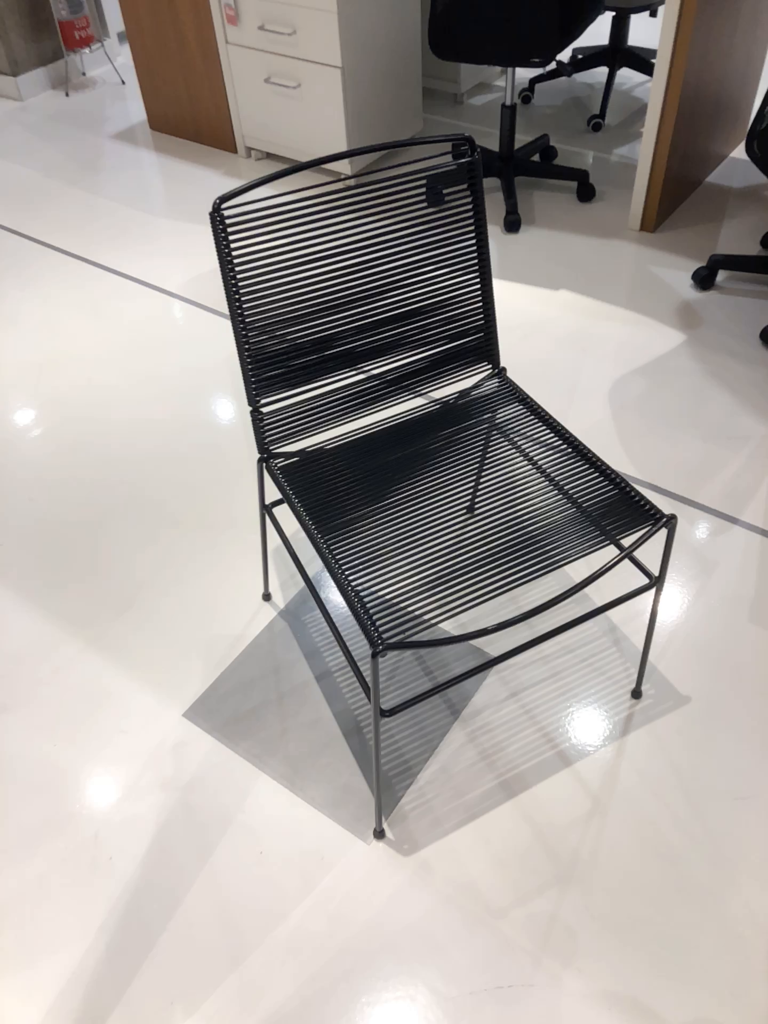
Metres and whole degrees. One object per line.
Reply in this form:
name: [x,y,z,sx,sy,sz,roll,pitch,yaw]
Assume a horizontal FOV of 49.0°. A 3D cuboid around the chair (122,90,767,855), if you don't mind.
chair: [0.061,-0.047,1.219,0.521,0.795,0.583,-23,49,-17]
